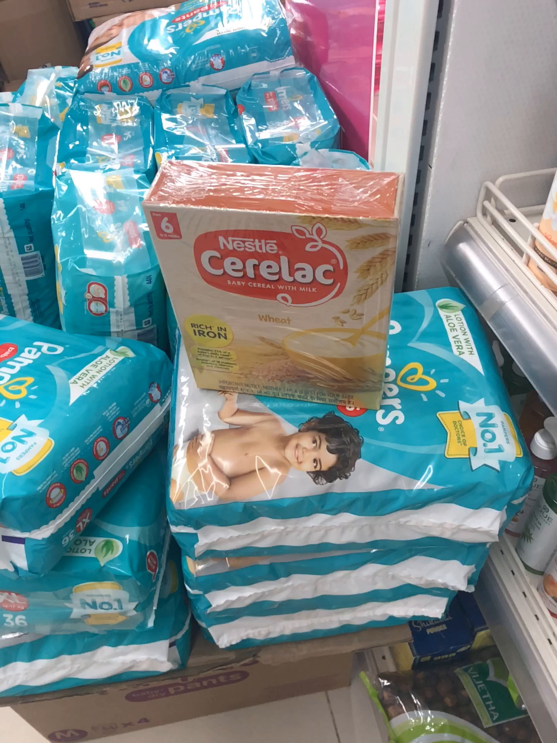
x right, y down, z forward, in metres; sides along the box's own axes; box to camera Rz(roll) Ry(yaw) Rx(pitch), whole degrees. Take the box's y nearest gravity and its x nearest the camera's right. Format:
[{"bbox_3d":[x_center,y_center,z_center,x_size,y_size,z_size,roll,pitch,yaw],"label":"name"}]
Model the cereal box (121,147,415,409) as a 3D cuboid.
[{"bbox_3d":[0.000,-0.055,0.420,0.160,0.179,0.050,6,53,10],"label":"cereal box"}]
